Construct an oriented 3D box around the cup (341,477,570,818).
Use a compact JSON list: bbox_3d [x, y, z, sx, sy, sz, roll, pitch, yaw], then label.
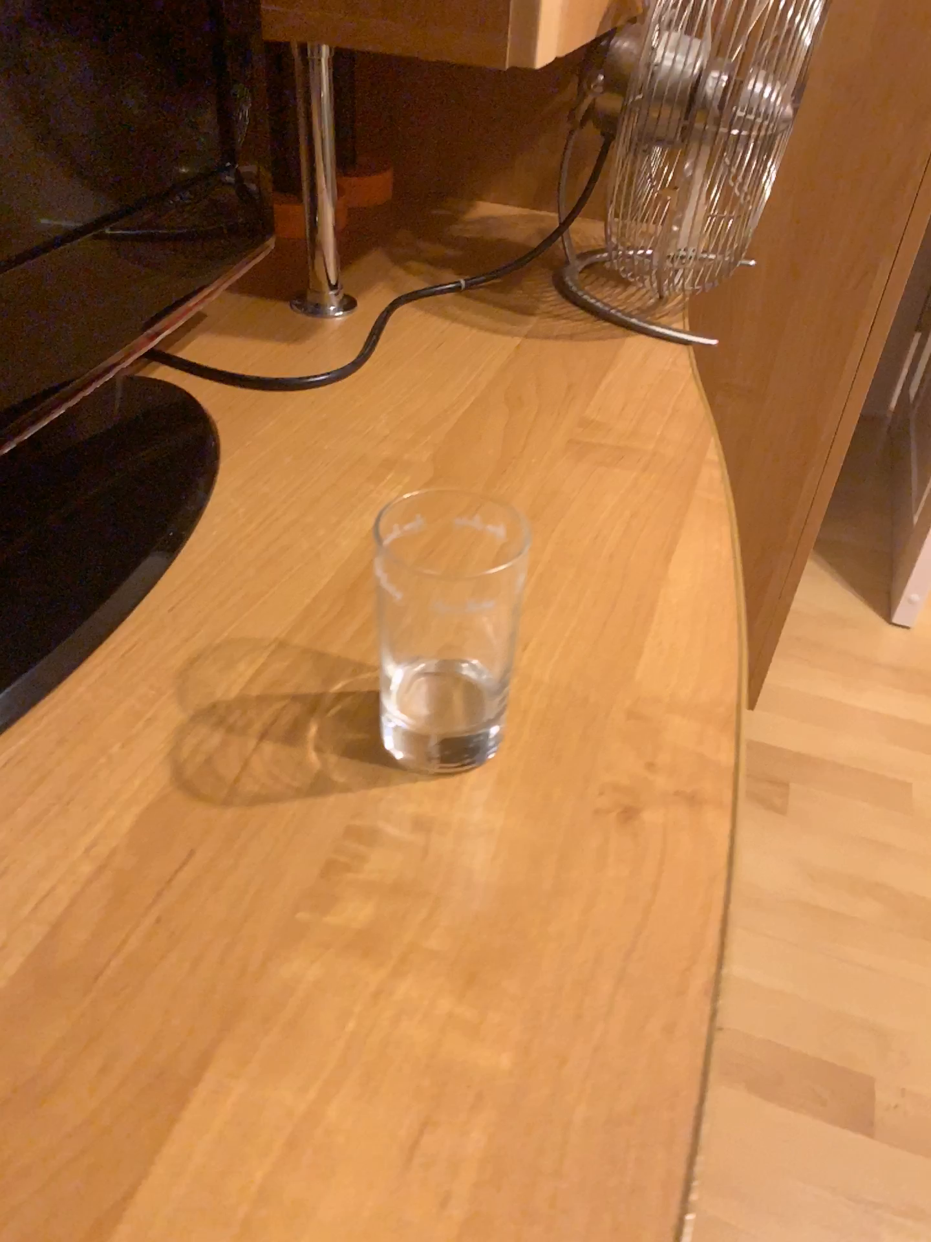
[{"bbox_3d":[-0.007,0.010,0.348,0.060,0.099,0.060,2,39,-2],"label":"cup"}]
